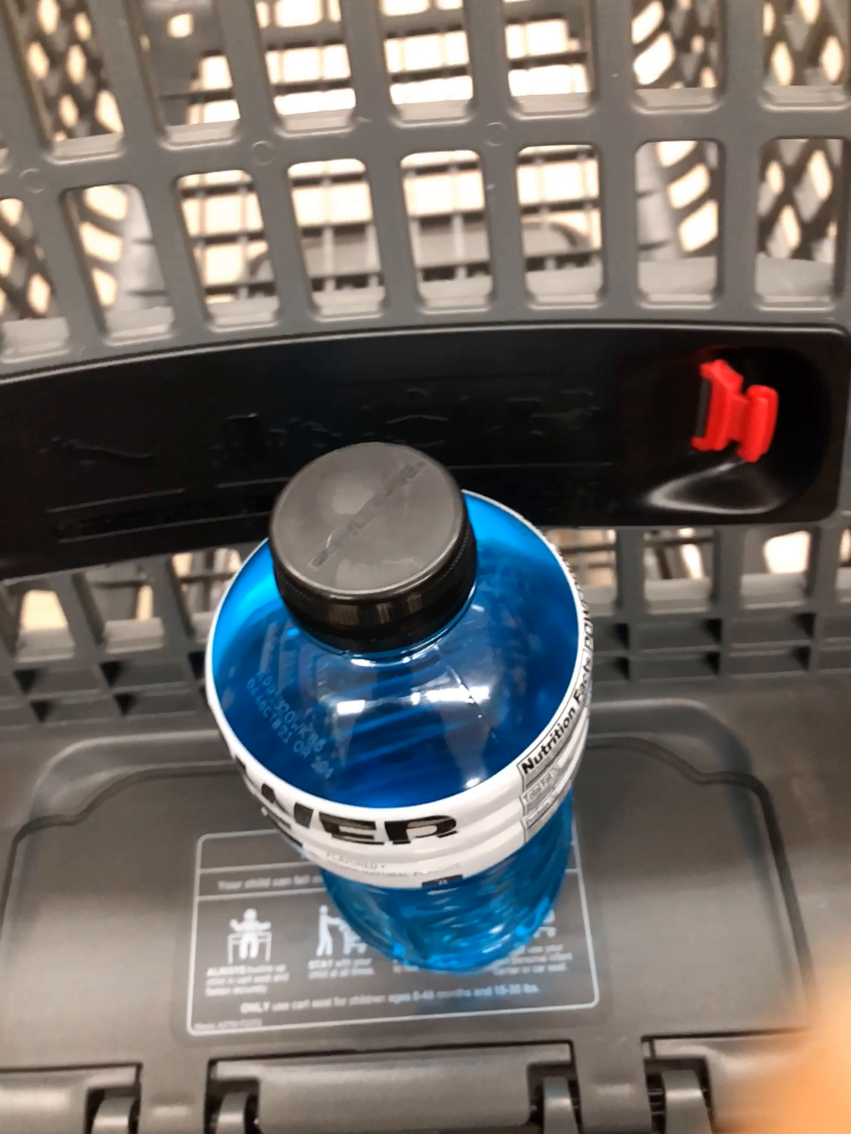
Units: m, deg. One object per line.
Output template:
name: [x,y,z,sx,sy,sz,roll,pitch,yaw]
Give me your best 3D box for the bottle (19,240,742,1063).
bottle: [-0.001,0.045,0.273,0.100,0.220,0.100,-4,54,5]
